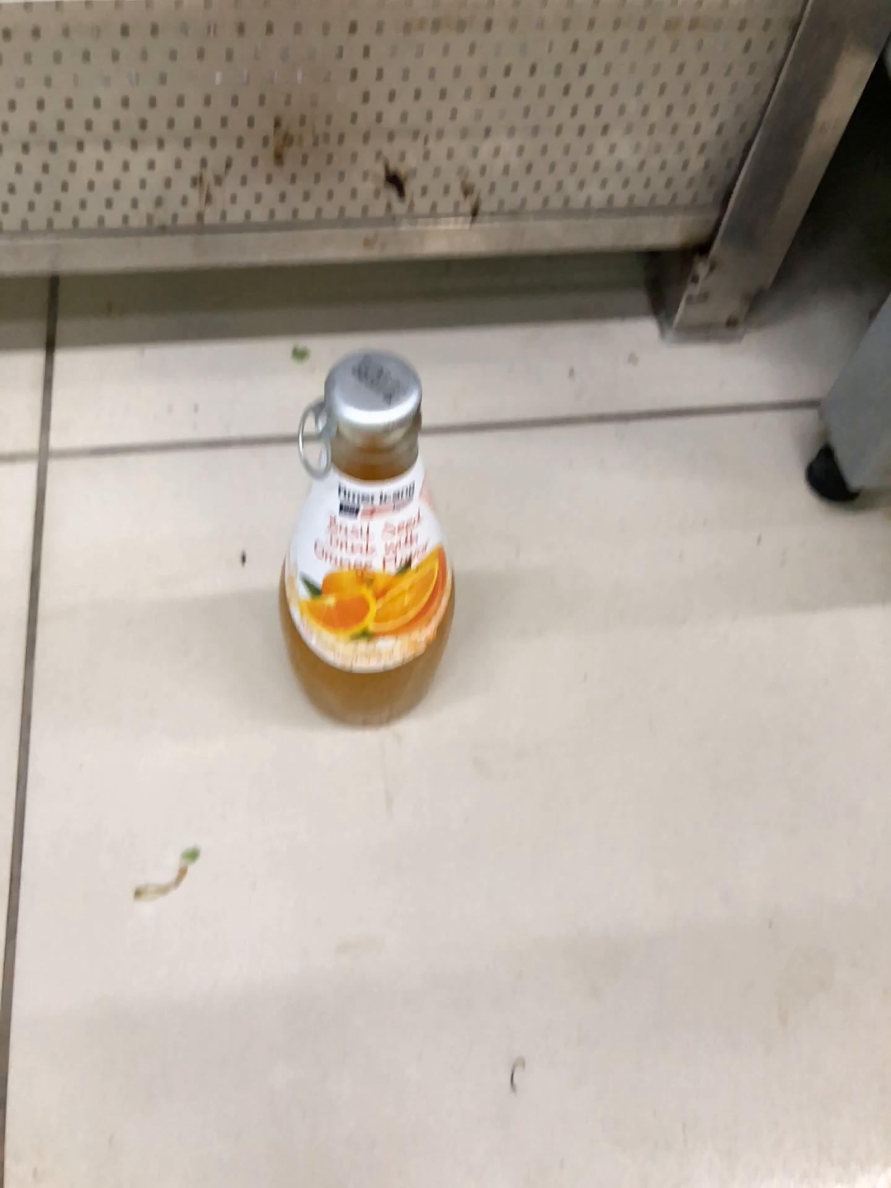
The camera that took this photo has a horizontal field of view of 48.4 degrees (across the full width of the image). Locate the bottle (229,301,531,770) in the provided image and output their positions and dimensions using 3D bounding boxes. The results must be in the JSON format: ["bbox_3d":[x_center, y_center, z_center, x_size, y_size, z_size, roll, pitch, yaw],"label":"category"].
[{"bbox_3d":[-0.026,-0.009,0.347,0.070,0.169,0.070,2,59,-4],"label":"bottle"}]
